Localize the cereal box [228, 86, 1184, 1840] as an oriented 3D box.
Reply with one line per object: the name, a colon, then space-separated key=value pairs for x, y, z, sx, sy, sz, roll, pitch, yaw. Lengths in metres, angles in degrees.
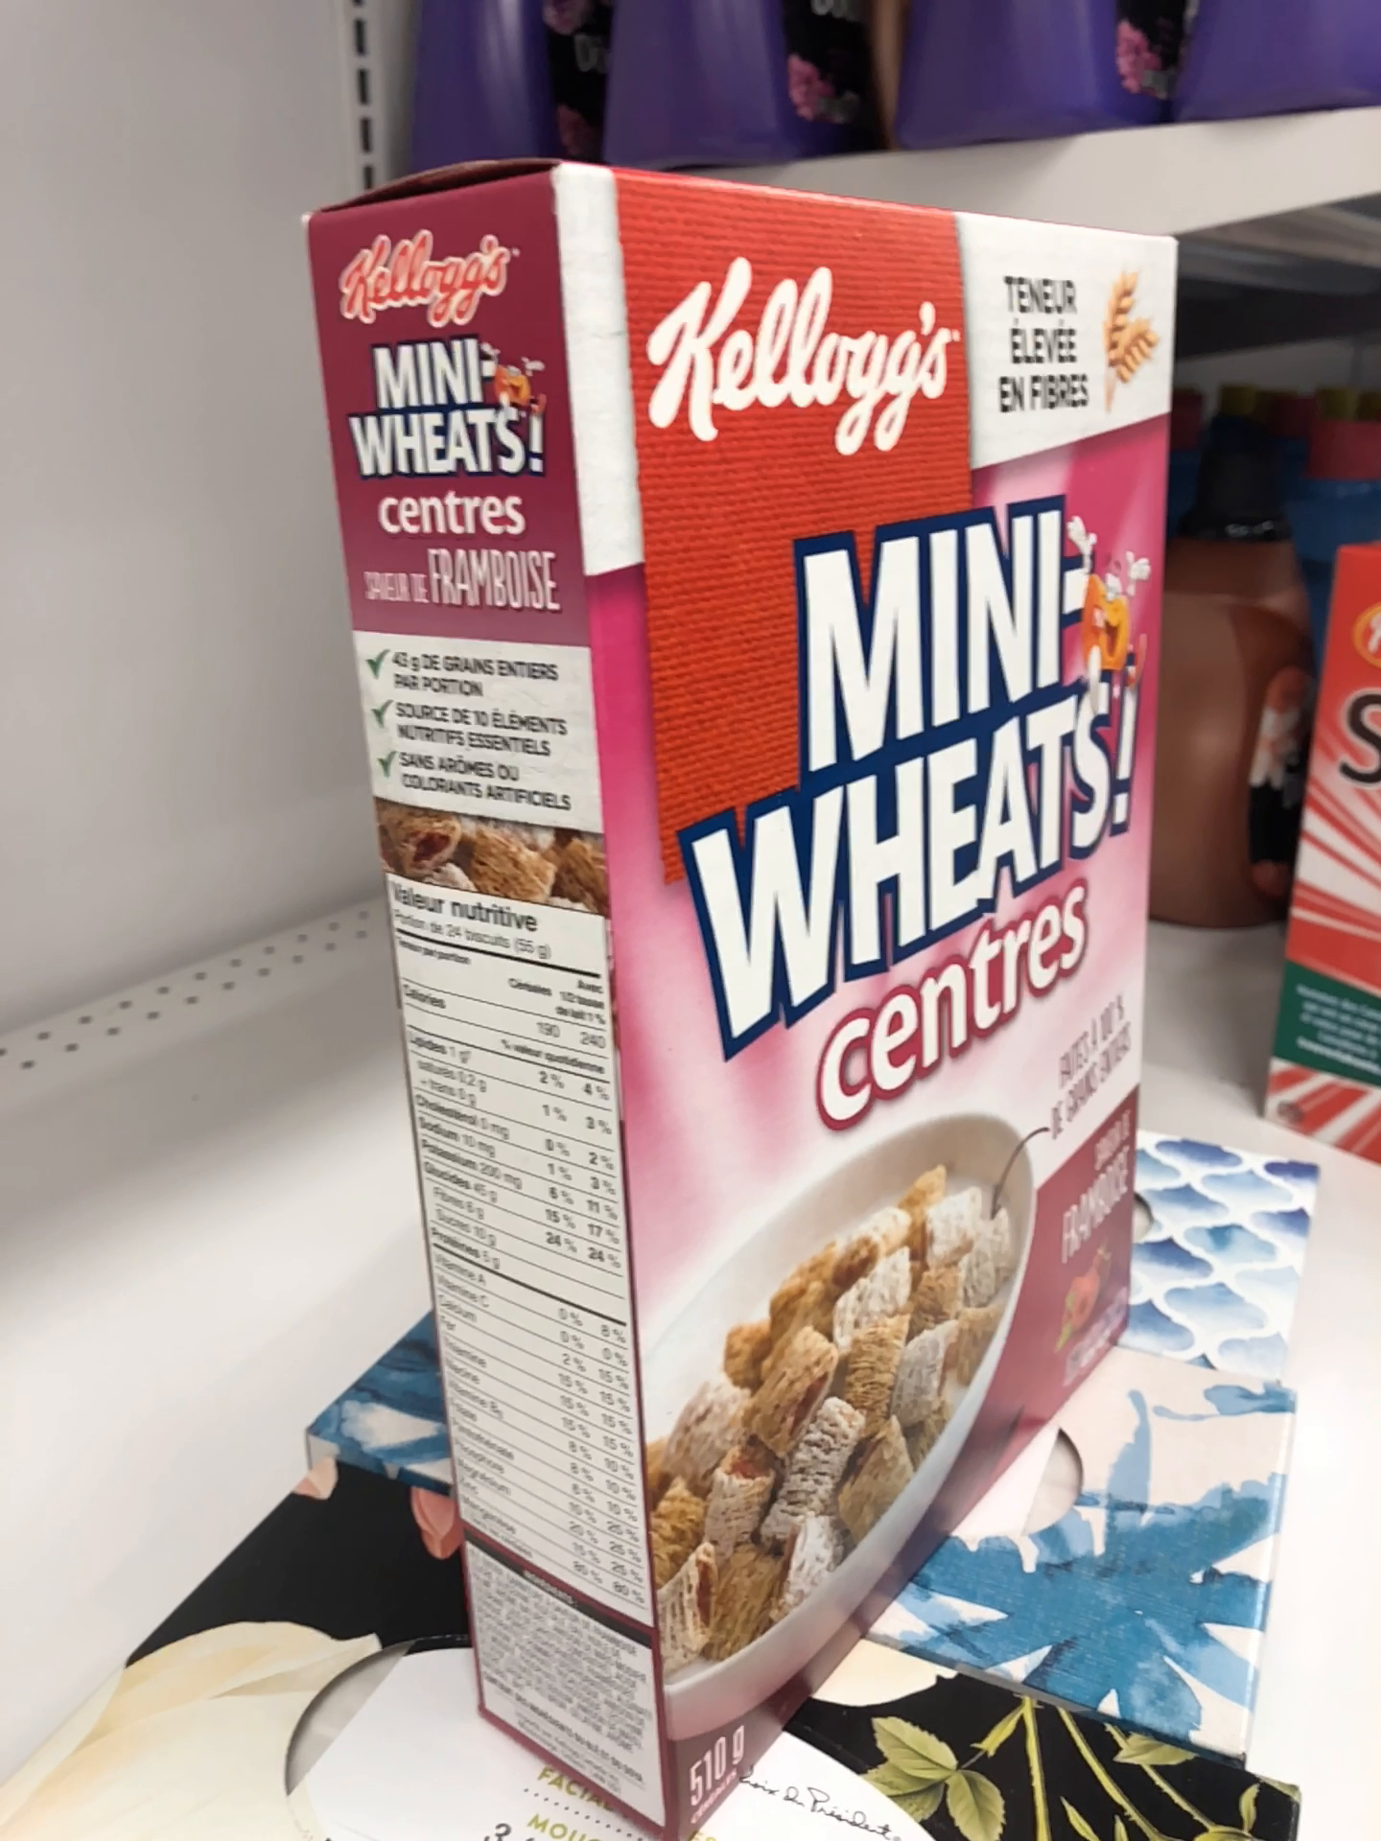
cereal box: x=0.030 y=0.001 z=0.308 sx=0.050 sy=0.269 sz=0.210 roll=10 pitch=22 yaw=37
